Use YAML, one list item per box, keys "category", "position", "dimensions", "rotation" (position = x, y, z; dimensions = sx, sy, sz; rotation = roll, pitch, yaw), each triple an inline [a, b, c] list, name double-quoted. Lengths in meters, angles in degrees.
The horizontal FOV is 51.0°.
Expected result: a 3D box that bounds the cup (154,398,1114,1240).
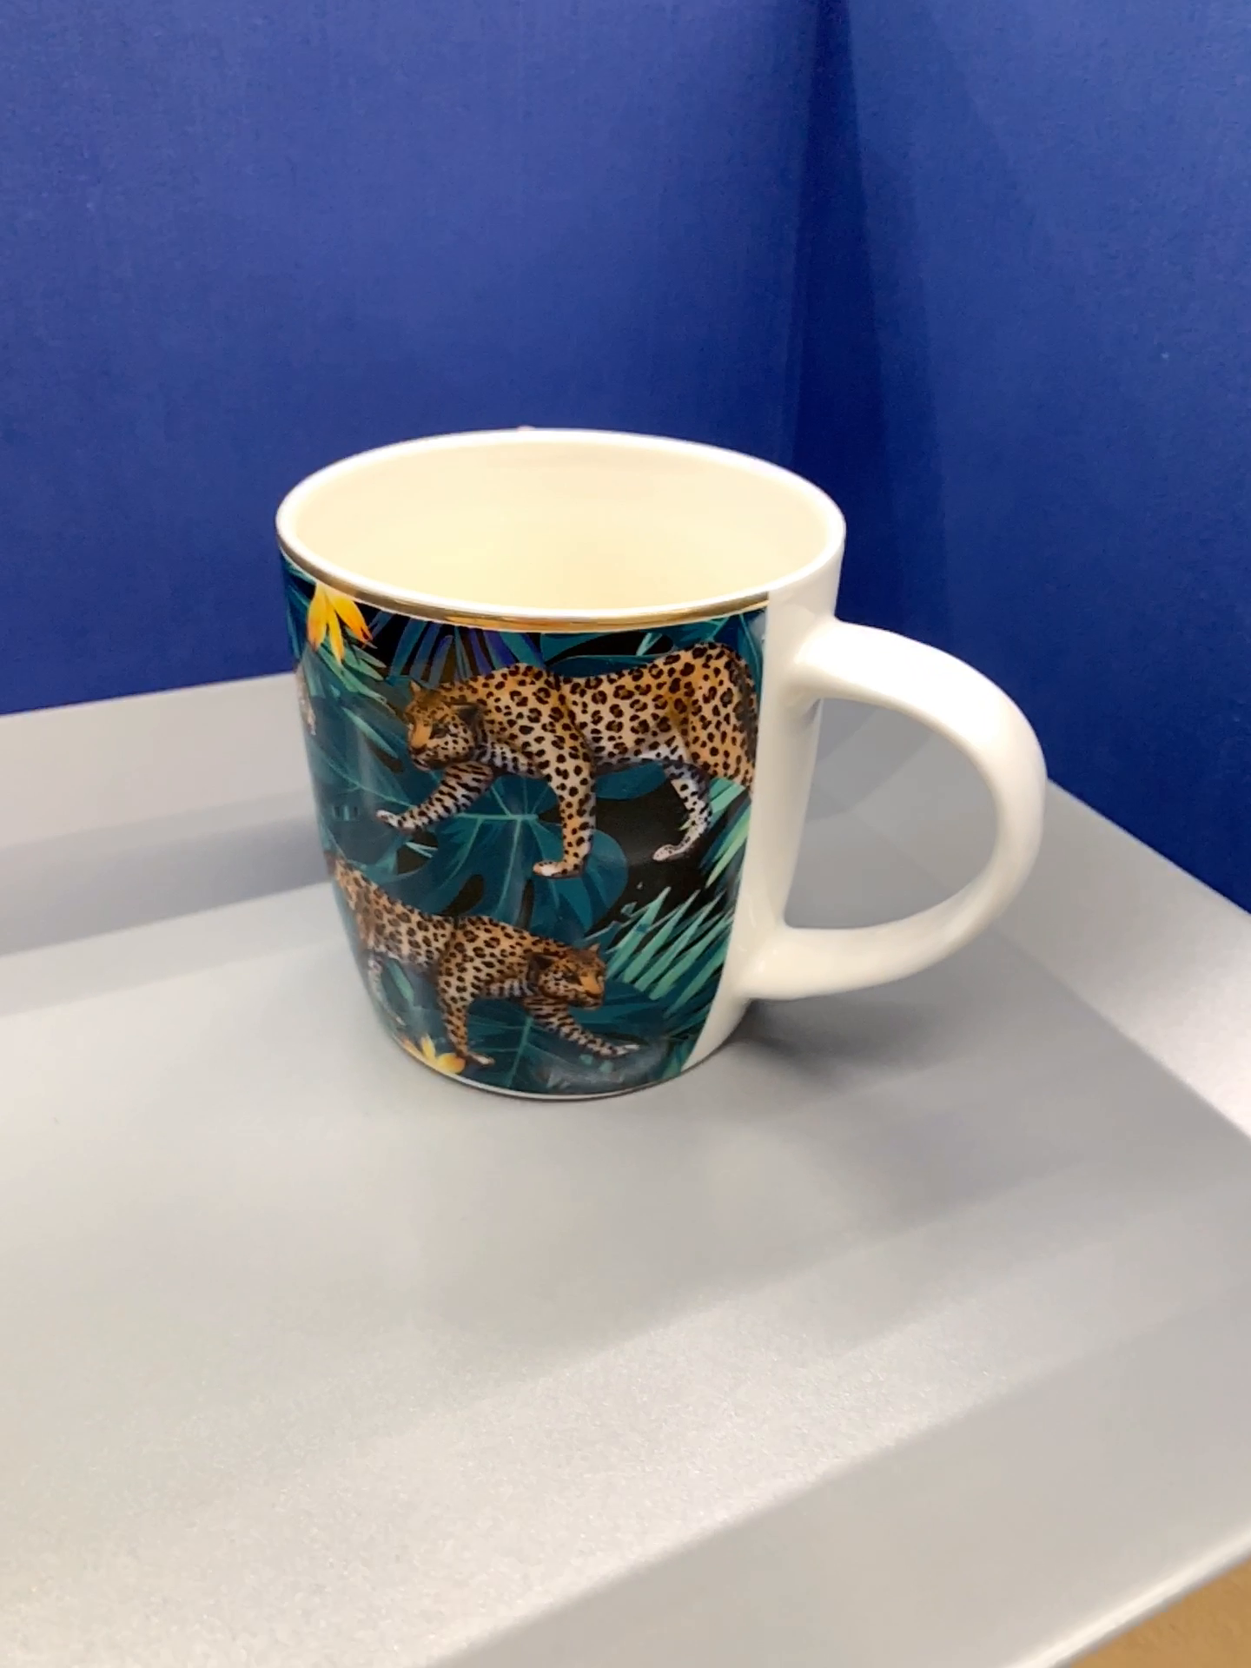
- category: "cup"
  position: [0.007, -0.014, 0.226]
  dimensions: [0.126, 0.091, 0.093]
  rotation: [12, 30, 17]
